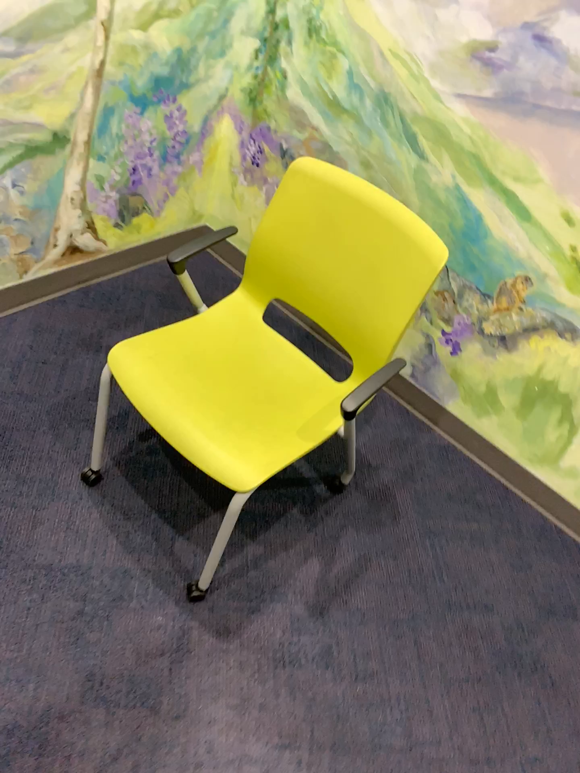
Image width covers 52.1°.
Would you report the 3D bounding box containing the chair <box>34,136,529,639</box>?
[{"bbox_3d":[-0.058,-0.041,1.339,0.743,0.717,0.591,-28,61,-39],"label":"chair"}]
